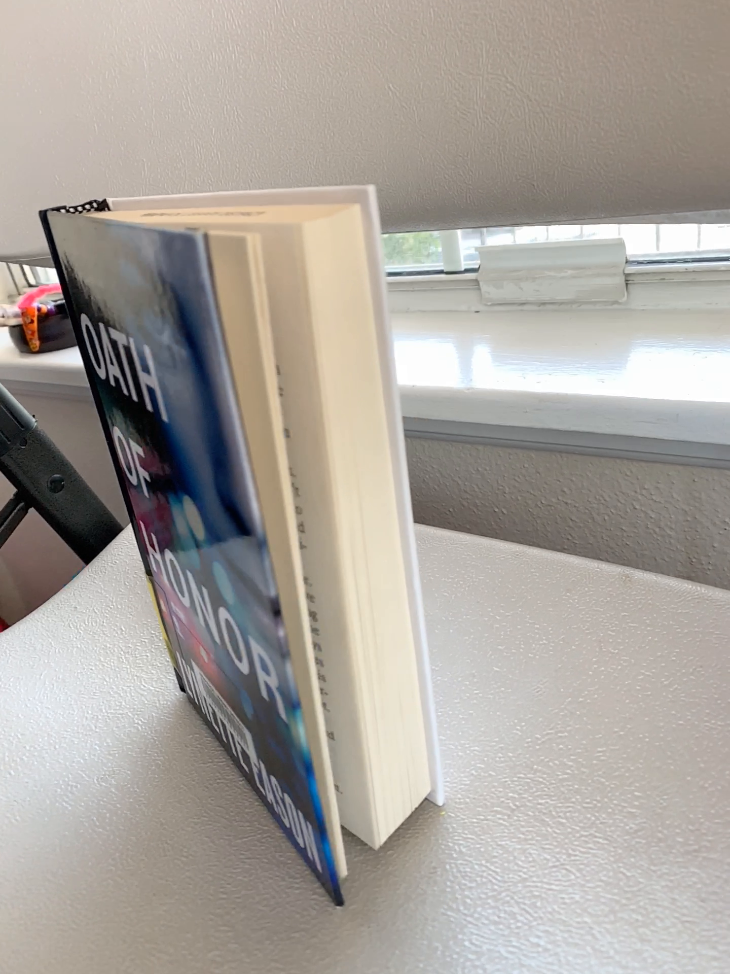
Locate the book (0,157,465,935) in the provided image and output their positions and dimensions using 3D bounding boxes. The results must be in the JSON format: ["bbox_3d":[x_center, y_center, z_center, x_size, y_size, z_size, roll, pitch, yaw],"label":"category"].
[{"bbox_3d":[-0.051,0.011,0.263,0.063,0.217,0.155,-24,29,-33],"label":"book"}]
